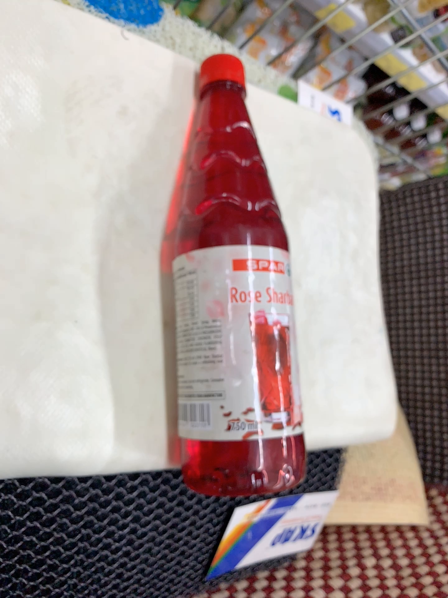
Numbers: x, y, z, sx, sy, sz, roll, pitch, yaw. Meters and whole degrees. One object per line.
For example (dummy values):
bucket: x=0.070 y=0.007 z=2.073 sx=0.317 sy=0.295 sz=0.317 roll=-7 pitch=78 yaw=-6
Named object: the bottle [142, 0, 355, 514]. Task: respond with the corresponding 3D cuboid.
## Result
bottle: x=0.007 y=-0.023 z=0.250 sx=0.070 sy=0.070 sz=0.230 roll=3 pitch=79 yaw=-34
